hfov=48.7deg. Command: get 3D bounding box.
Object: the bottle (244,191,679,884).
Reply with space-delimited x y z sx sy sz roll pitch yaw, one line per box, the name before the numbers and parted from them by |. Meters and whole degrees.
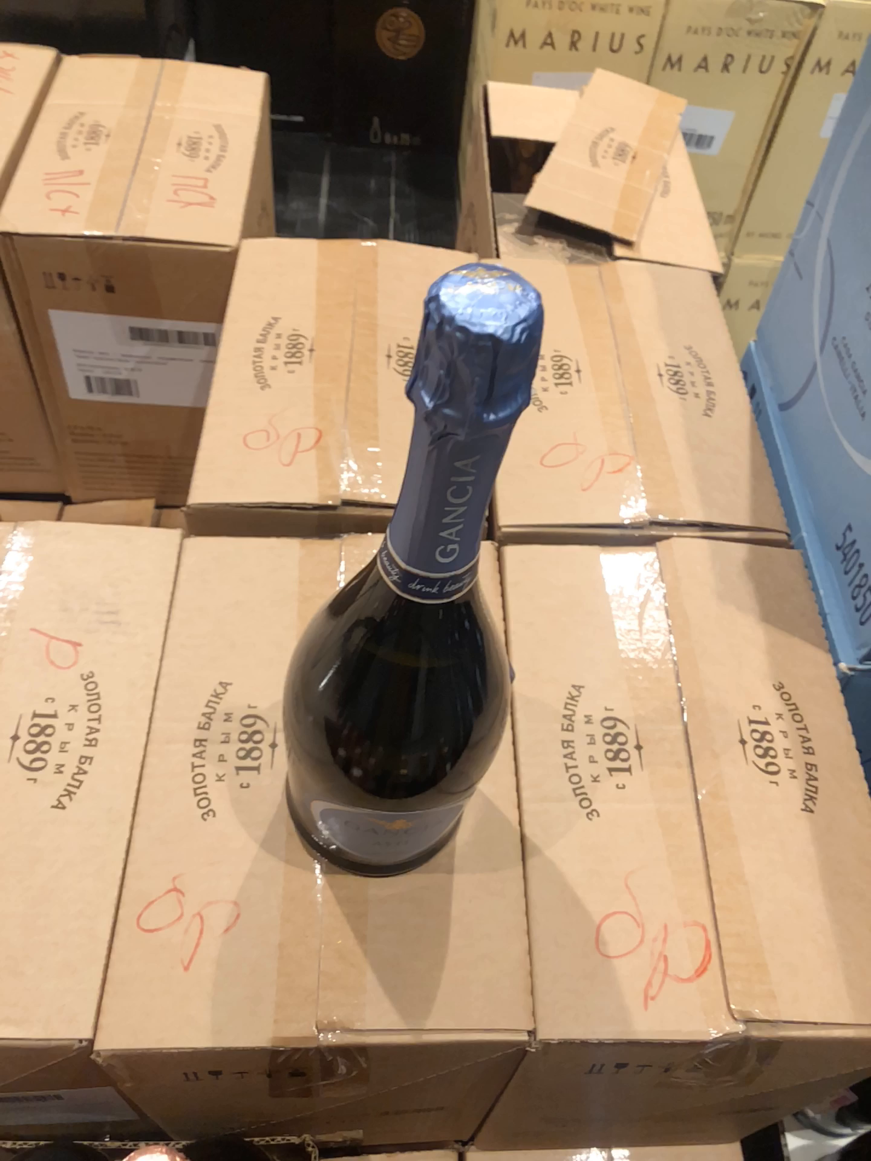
bottle | -0.009 0.016 0.367 0.101 0.298 0.090 0 53 -7
